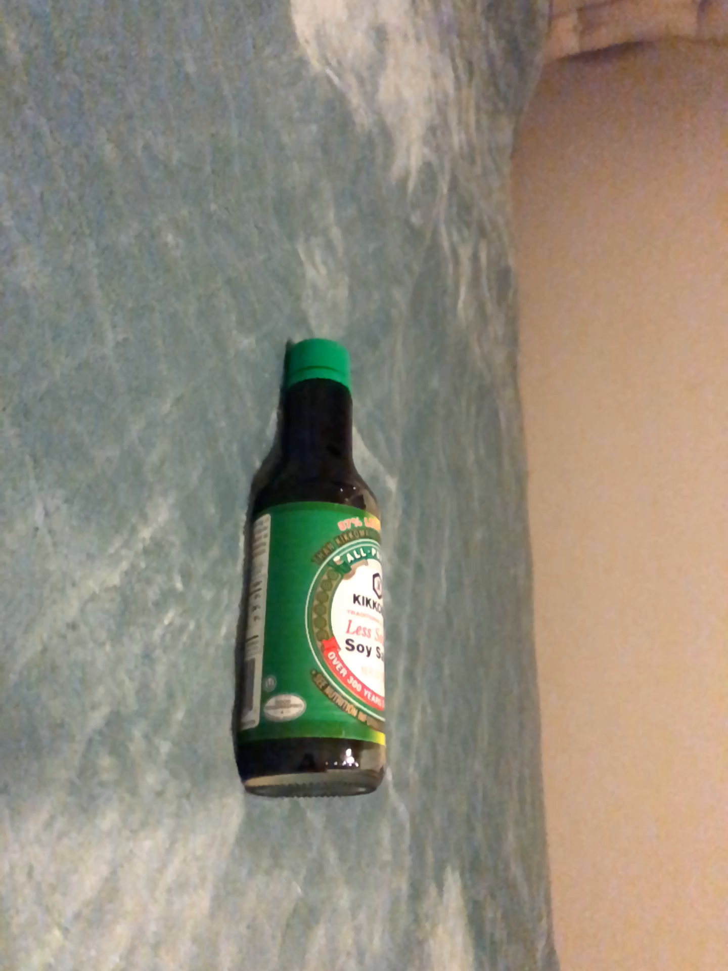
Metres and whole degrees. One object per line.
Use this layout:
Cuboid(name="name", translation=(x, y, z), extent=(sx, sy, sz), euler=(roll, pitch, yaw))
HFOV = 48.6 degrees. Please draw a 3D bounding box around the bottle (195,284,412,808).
Cuboid(name="bottle", translation=(-0.023, 0.025, 0.351), extent=(0.070, 0.060, 0.210), euler=(51, 33, -60))
